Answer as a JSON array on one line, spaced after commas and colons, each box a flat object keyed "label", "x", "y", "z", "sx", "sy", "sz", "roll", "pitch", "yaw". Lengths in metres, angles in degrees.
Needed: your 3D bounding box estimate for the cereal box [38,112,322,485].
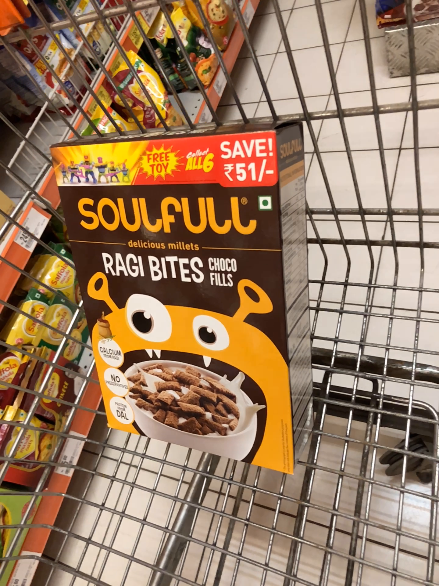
[{"label": "cereal box", "x": -0.023, "y": 0.002, "z": 0.391, "sx": 0.191, "sy": 0.259, "sz": 0.070, "roll": 6, "pitch": 24, "yaw": 28}]
